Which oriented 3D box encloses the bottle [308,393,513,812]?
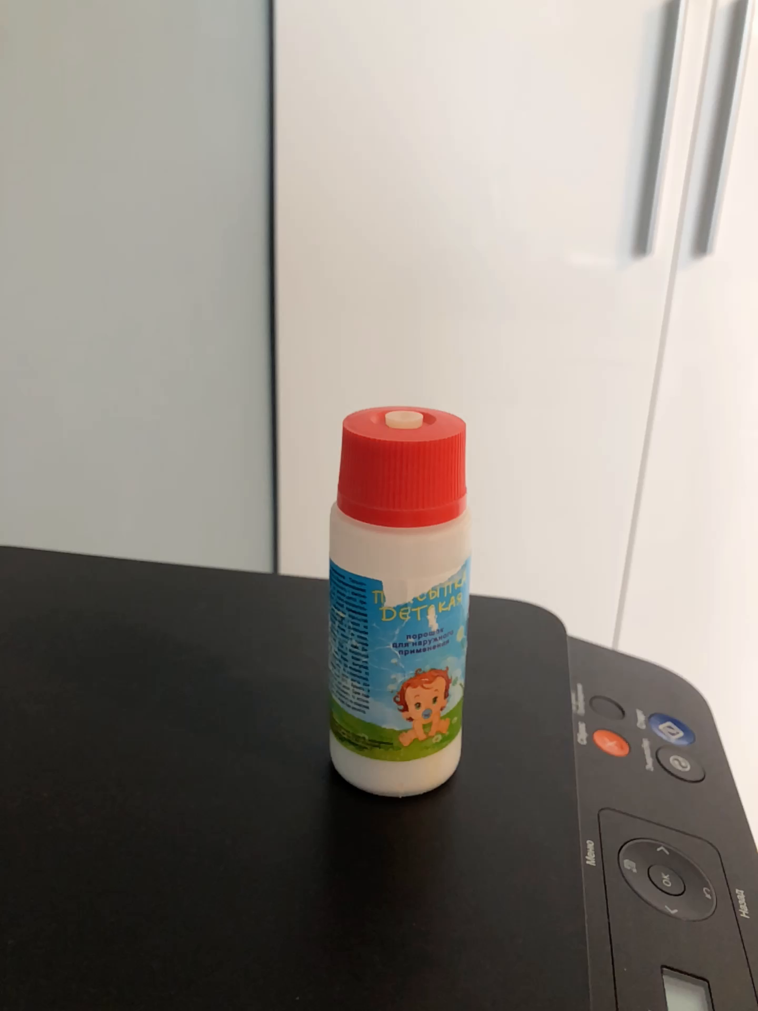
[{"bbox_3d":[0.006,0.028,0.254,0.042,0.112,0.044,2,20,-1],"label":"bottle"}]
